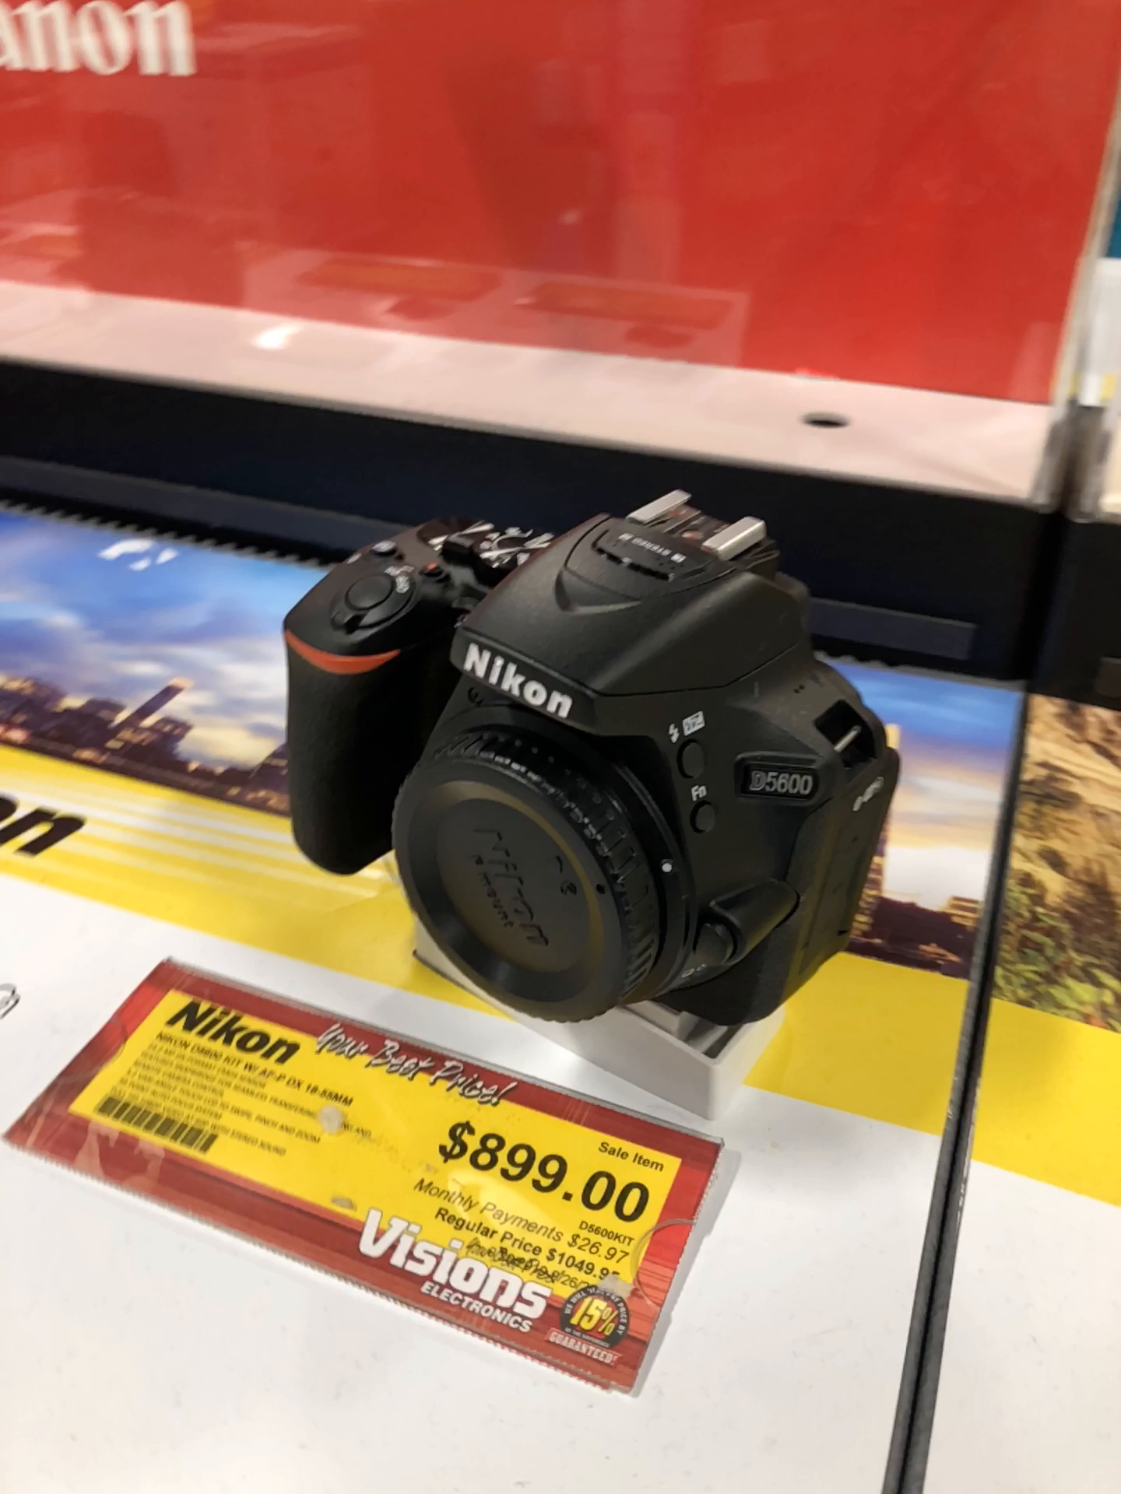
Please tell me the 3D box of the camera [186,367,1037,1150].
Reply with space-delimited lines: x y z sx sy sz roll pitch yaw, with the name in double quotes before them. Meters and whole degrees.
"camera" 0.003 -0.010 0.257 0.140 0.089 0.080 27 38 28
